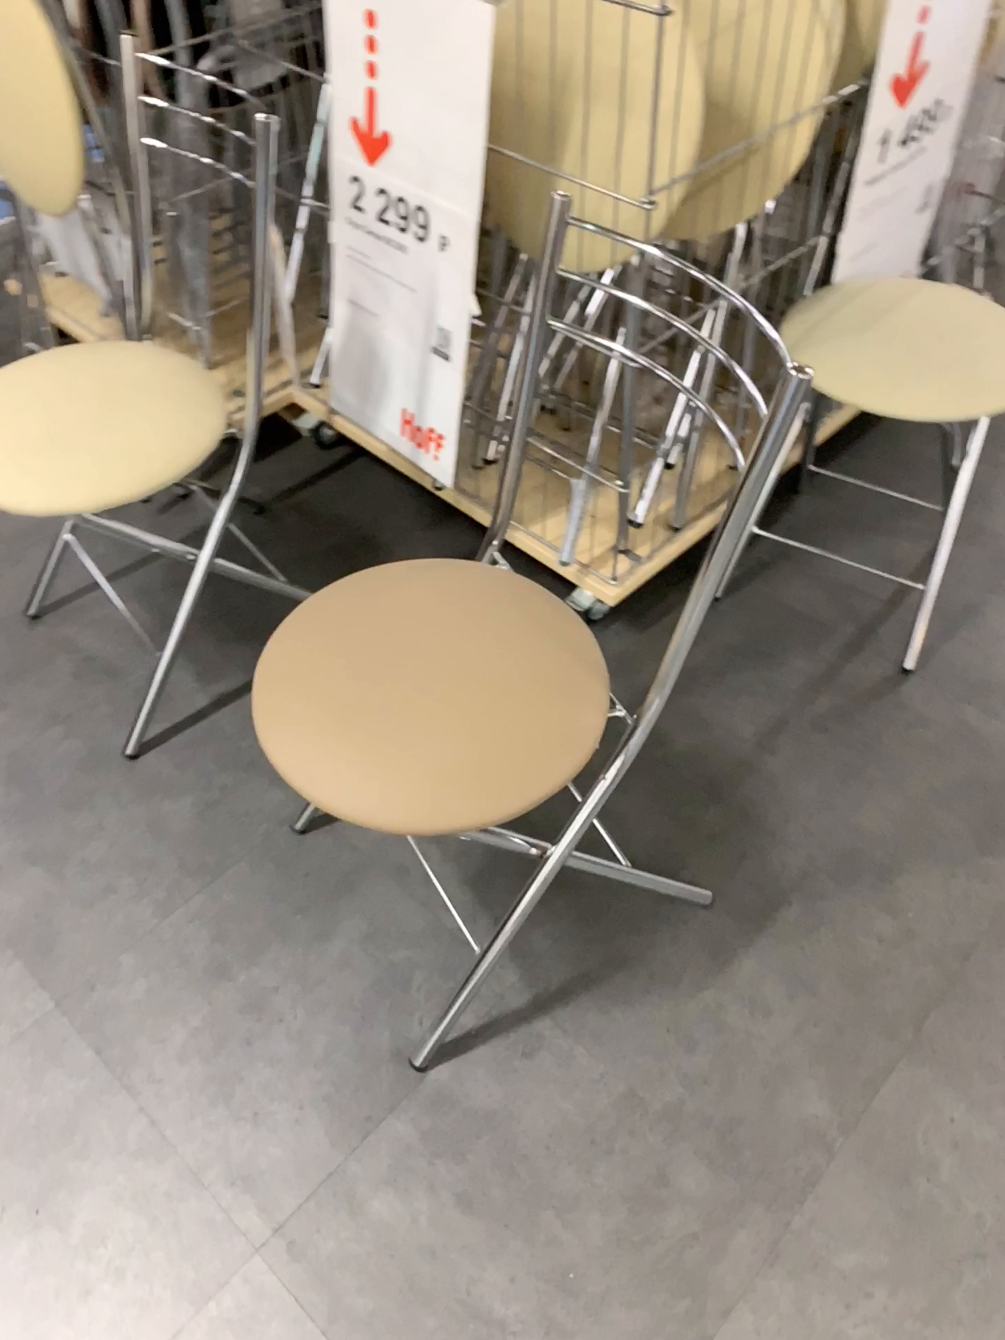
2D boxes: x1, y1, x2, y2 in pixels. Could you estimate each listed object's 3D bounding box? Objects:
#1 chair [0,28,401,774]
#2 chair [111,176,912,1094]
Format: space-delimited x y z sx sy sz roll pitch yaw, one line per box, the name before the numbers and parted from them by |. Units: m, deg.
chair | -0.539 -0.369 1.492 0.491 0.777 0.521 -35 56 -25
chair | -0.002 0.003 1.132 0.491 0.796 0.441 -25 53 -19
